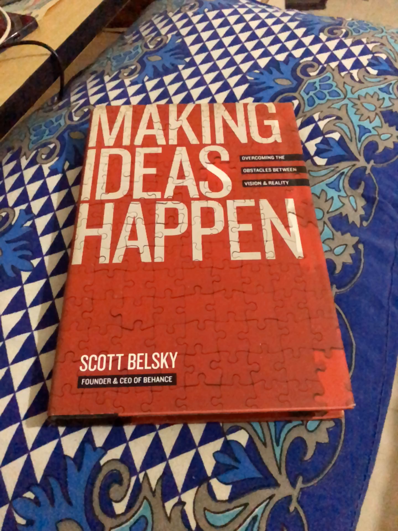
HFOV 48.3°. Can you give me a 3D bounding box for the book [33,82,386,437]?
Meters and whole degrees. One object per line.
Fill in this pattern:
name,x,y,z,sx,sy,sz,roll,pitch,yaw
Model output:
book,0.001,-0.028,0.284,0.160,0.030,0.251,-2,56,-1
